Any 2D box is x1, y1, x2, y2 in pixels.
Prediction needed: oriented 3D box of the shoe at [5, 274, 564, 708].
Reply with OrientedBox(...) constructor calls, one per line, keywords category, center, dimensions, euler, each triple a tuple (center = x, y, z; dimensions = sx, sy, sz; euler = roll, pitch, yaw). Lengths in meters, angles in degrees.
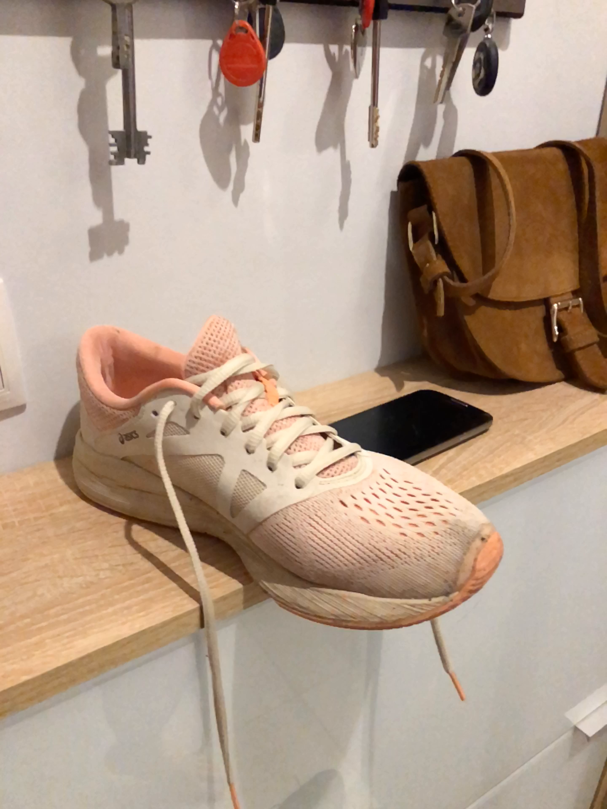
OrientedBox(category="shoe", center=(-0.024, 0.016, 0.354), dimensions=(0.268, 0.103, 0.111), euler=(19, 32, 34))
